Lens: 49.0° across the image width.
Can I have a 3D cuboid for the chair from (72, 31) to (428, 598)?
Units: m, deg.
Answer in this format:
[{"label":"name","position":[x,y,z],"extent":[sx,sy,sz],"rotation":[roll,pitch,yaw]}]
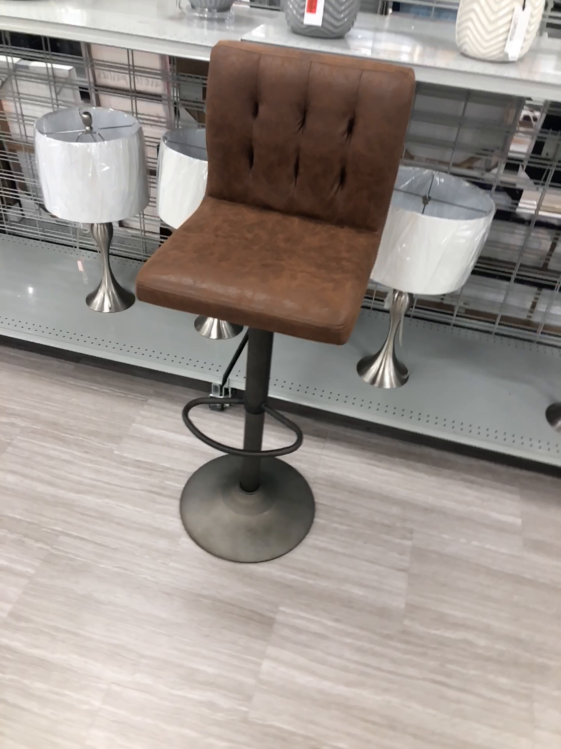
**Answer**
[{"label":"chair","position":[-0.050,-0.076,1.375],"extent":[0.474,1.102,0.471],"rotation":[13,39,10]}]
